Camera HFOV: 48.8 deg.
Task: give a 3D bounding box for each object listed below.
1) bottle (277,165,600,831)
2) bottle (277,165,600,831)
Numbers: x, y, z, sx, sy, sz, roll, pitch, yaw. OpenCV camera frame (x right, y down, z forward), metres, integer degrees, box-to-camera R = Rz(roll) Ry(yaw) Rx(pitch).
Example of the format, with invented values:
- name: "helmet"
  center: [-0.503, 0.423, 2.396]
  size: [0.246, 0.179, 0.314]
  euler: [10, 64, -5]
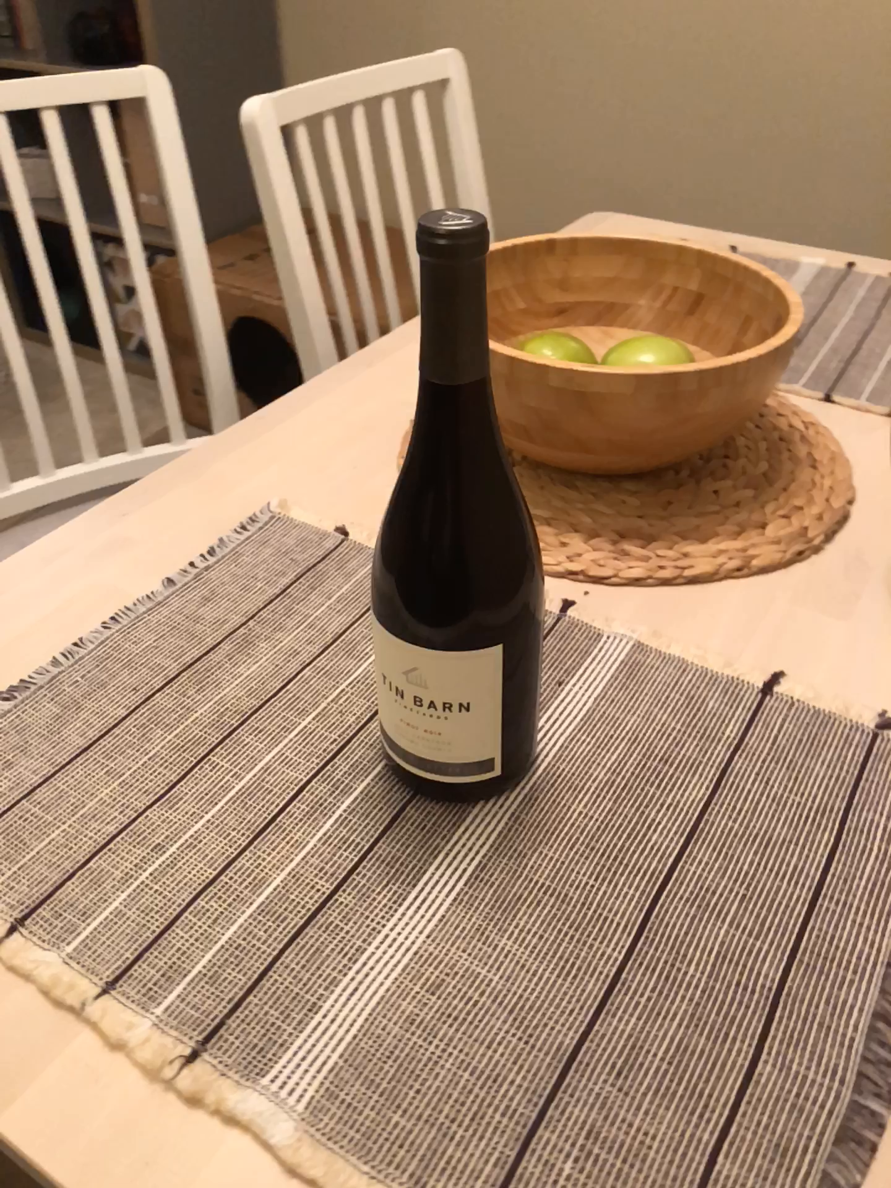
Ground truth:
- name: "bottle"
  center: [0.001, -0.034, 0.466]
  size: [0.090, 0.288, 0.101]
  euler: [16, 40, 20]
- name: "bottle"
  center: [0.001, -0.034, 0.466]
  size: [0.090, 0.288, 0.101]
  euler: [16, 40, 20]
